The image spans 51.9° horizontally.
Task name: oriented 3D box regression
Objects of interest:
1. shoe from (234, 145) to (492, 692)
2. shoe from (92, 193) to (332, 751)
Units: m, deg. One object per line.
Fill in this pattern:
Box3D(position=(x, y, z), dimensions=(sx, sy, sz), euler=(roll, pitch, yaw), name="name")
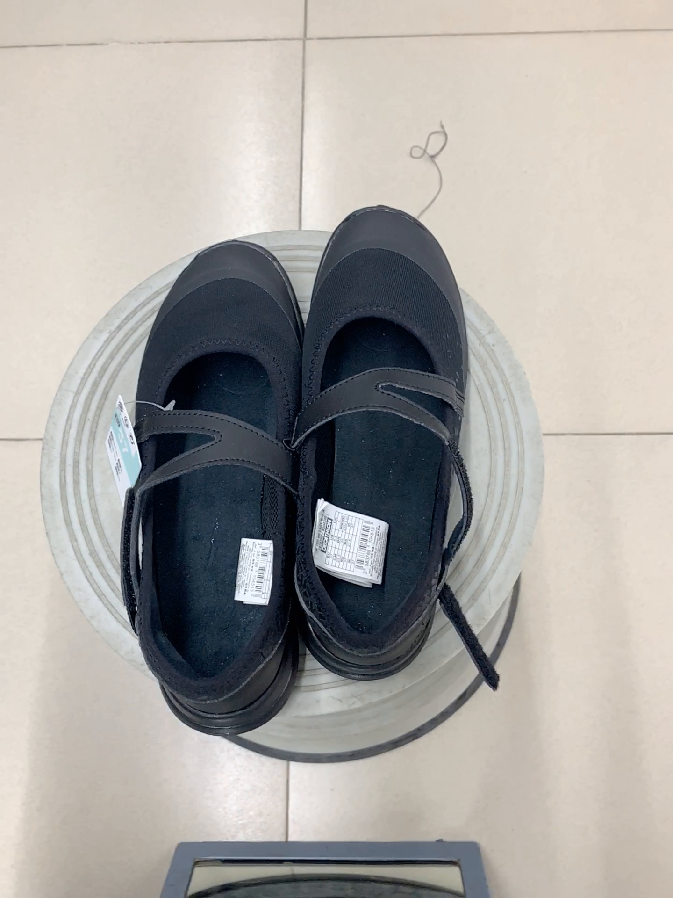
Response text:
Box3D(position=(0.019, -0.017, 0.343), dimensions=(0.100, 0.080, 0.250), euler=(3, 73, 3), name="shoe")
Box3D(position=(-0.053, 0.007, 0.342), dimensions=(0.090, 0.080, 0.250), euler=(-2, 73, 1), name="shoe")
